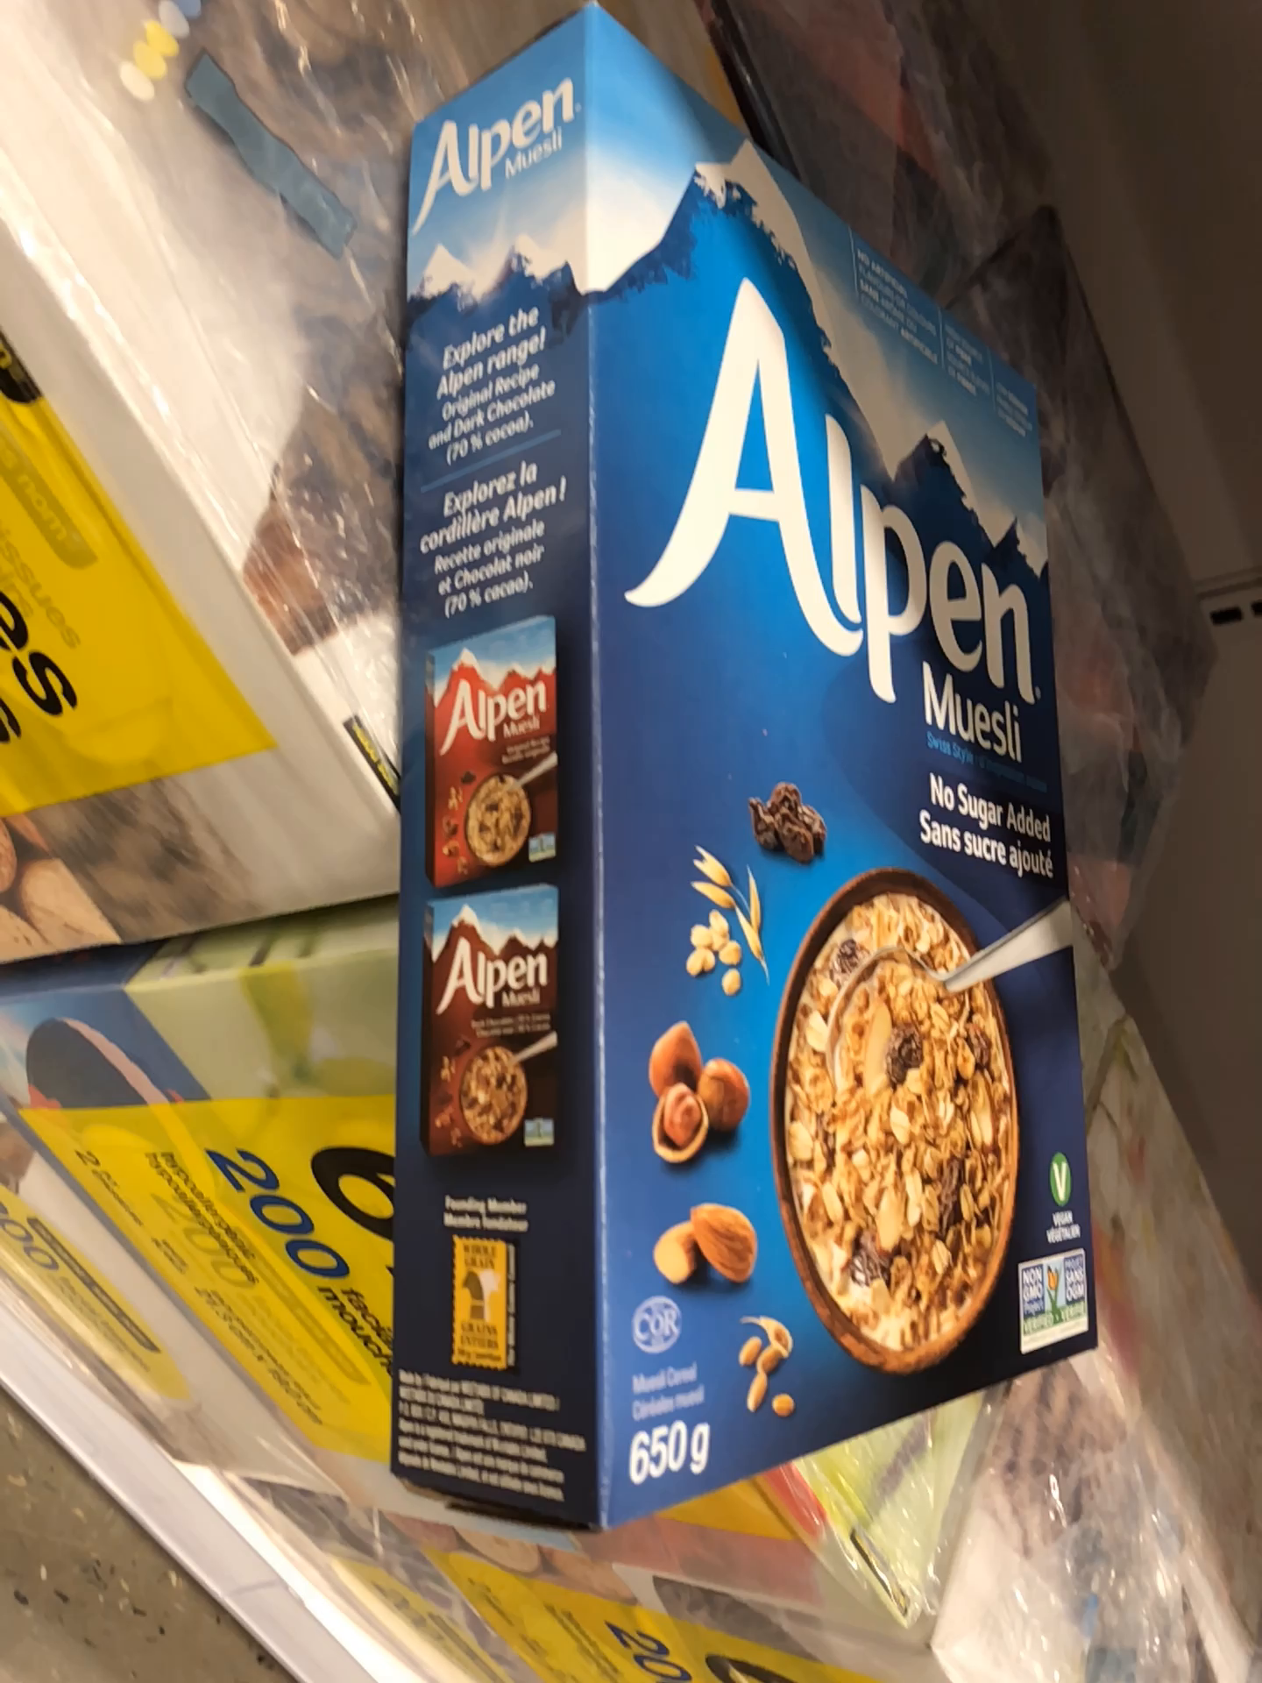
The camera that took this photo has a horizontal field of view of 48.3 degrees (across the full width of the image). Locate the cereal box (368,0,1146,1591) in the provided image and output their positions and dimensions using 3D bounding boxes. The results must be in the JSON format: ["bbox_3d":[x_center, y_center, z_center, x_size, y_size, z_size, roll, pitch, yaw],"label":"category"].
[{"bbox_3d":[0.039,-0.021,0.294,0.191,0.050,0.270,11,75,-49],"label":"cereal box"}]
